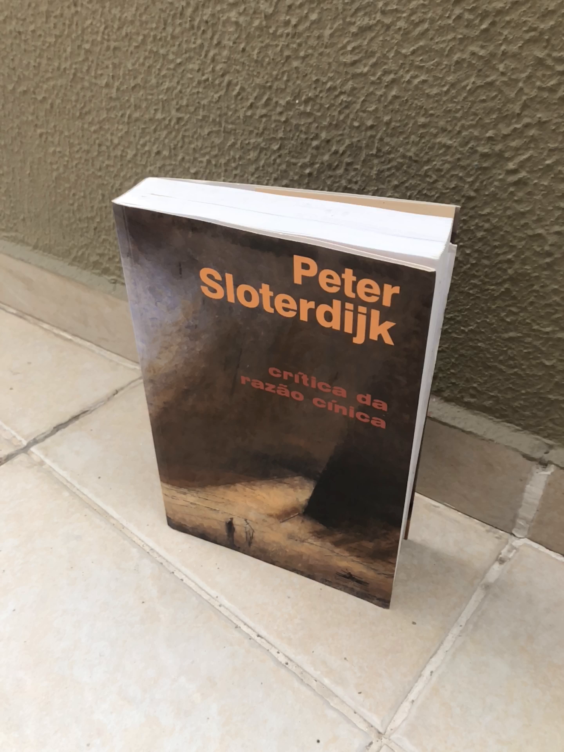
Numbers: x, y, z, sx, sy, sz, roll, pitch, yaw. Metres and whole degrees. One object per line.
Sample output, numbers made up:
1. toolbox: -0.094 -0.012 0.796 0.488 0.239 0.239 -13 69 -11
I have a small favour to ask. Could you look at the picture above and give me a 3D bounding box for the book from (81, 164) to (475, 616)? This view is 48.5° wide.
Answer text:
1. book: -0.002 0.013 0.342 0.165 0.220 0.058 15 39 20
